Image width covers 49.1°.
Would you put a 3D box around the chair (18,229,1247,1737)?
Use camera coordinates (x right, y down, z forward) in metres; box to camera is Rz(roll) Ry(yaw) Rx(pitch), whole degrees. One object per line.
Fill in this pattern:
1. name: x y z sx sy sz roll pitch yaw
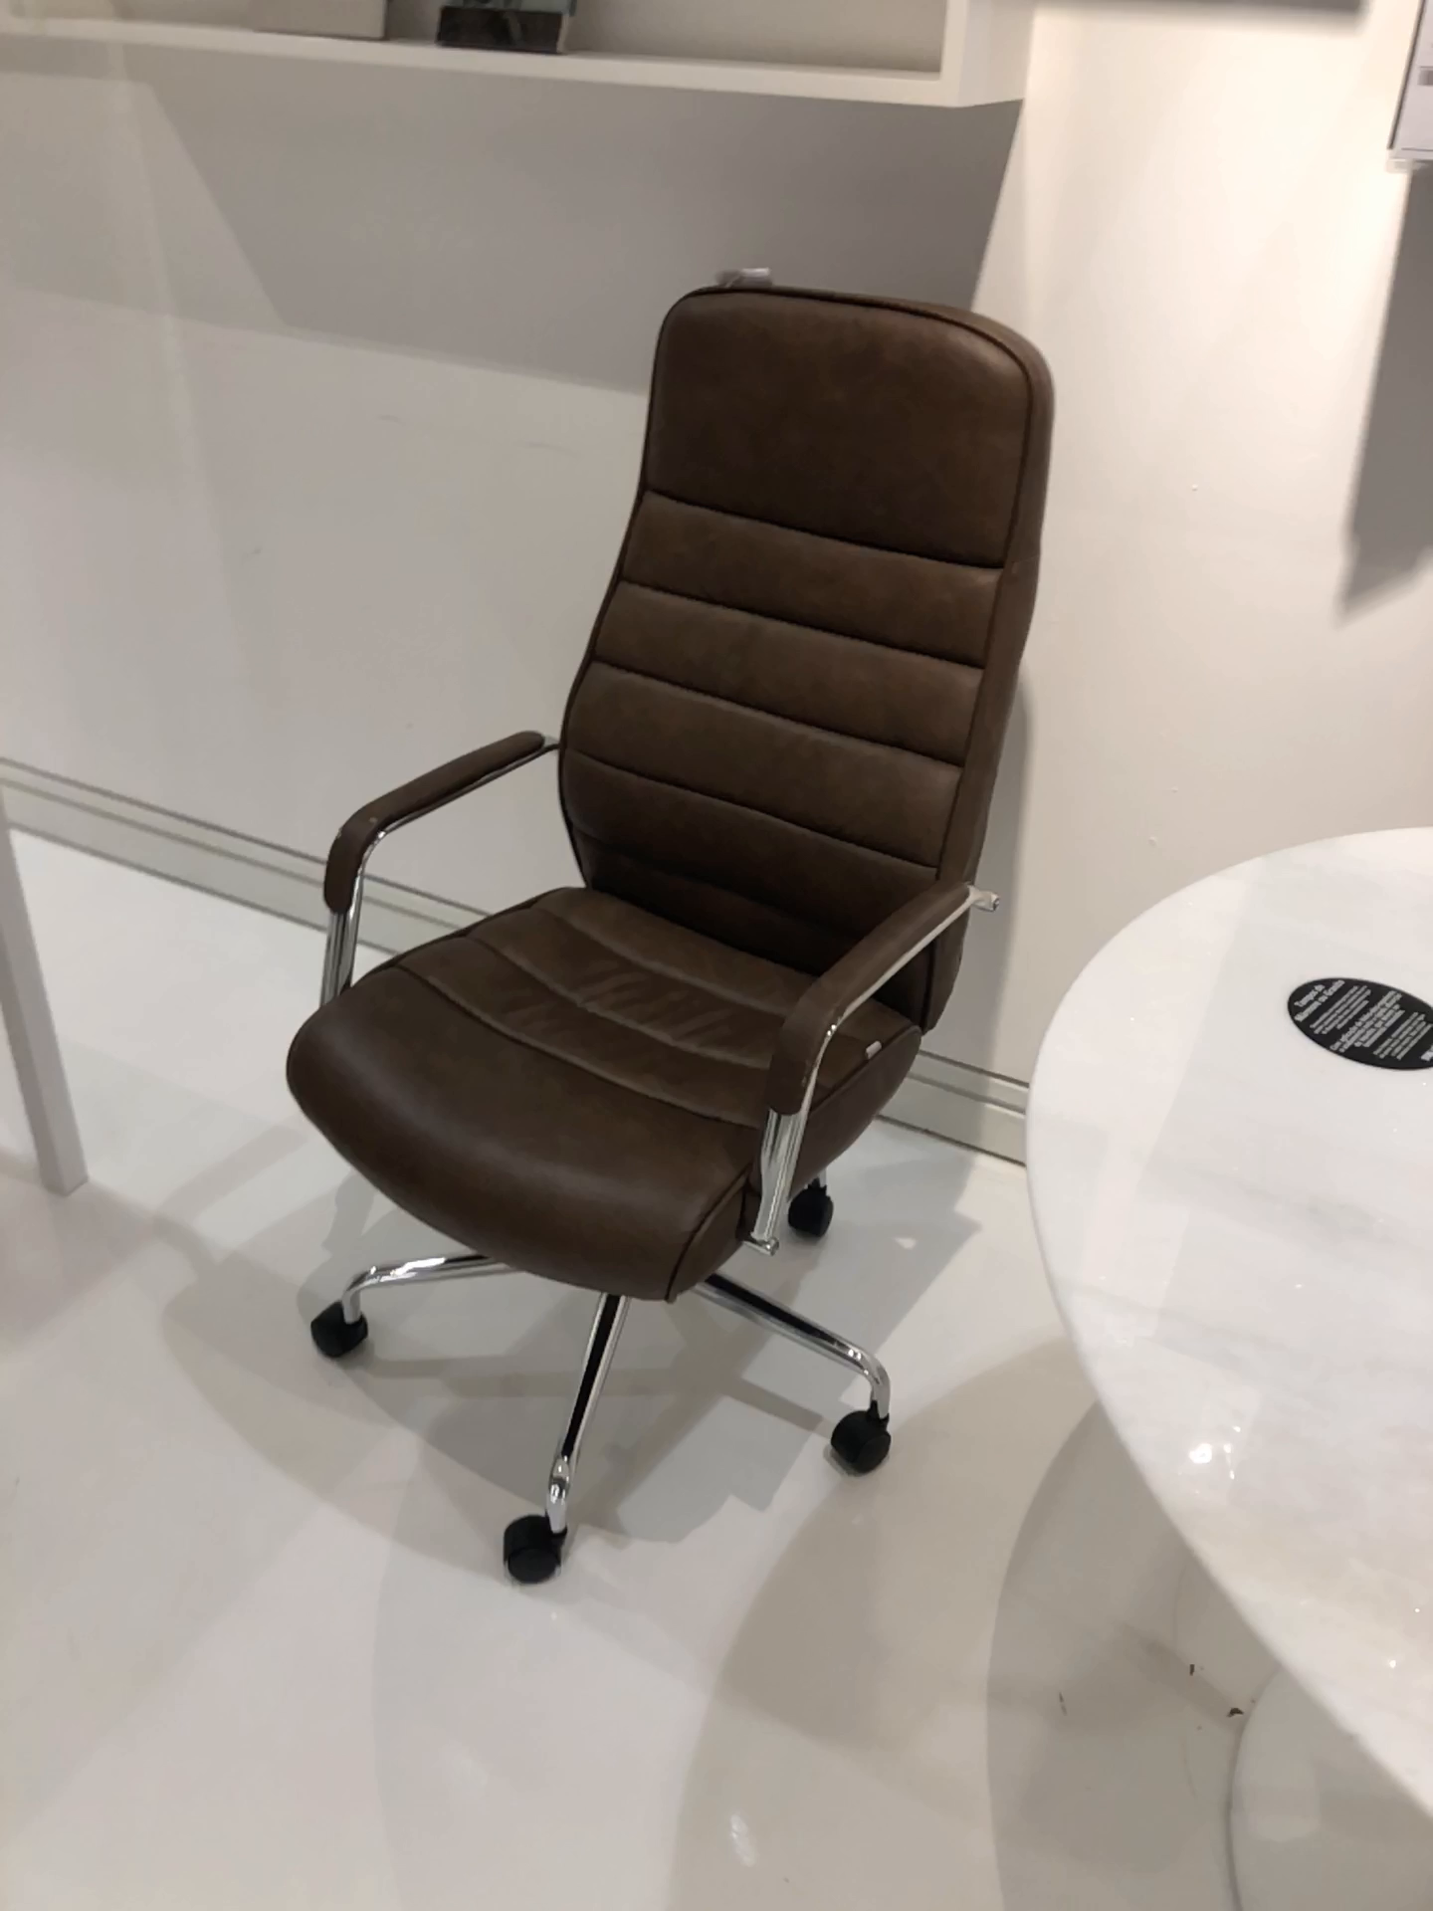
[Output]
1. chair: -0.052 -0.041 1.624 0.702 1.171 0.784 22 36 29
